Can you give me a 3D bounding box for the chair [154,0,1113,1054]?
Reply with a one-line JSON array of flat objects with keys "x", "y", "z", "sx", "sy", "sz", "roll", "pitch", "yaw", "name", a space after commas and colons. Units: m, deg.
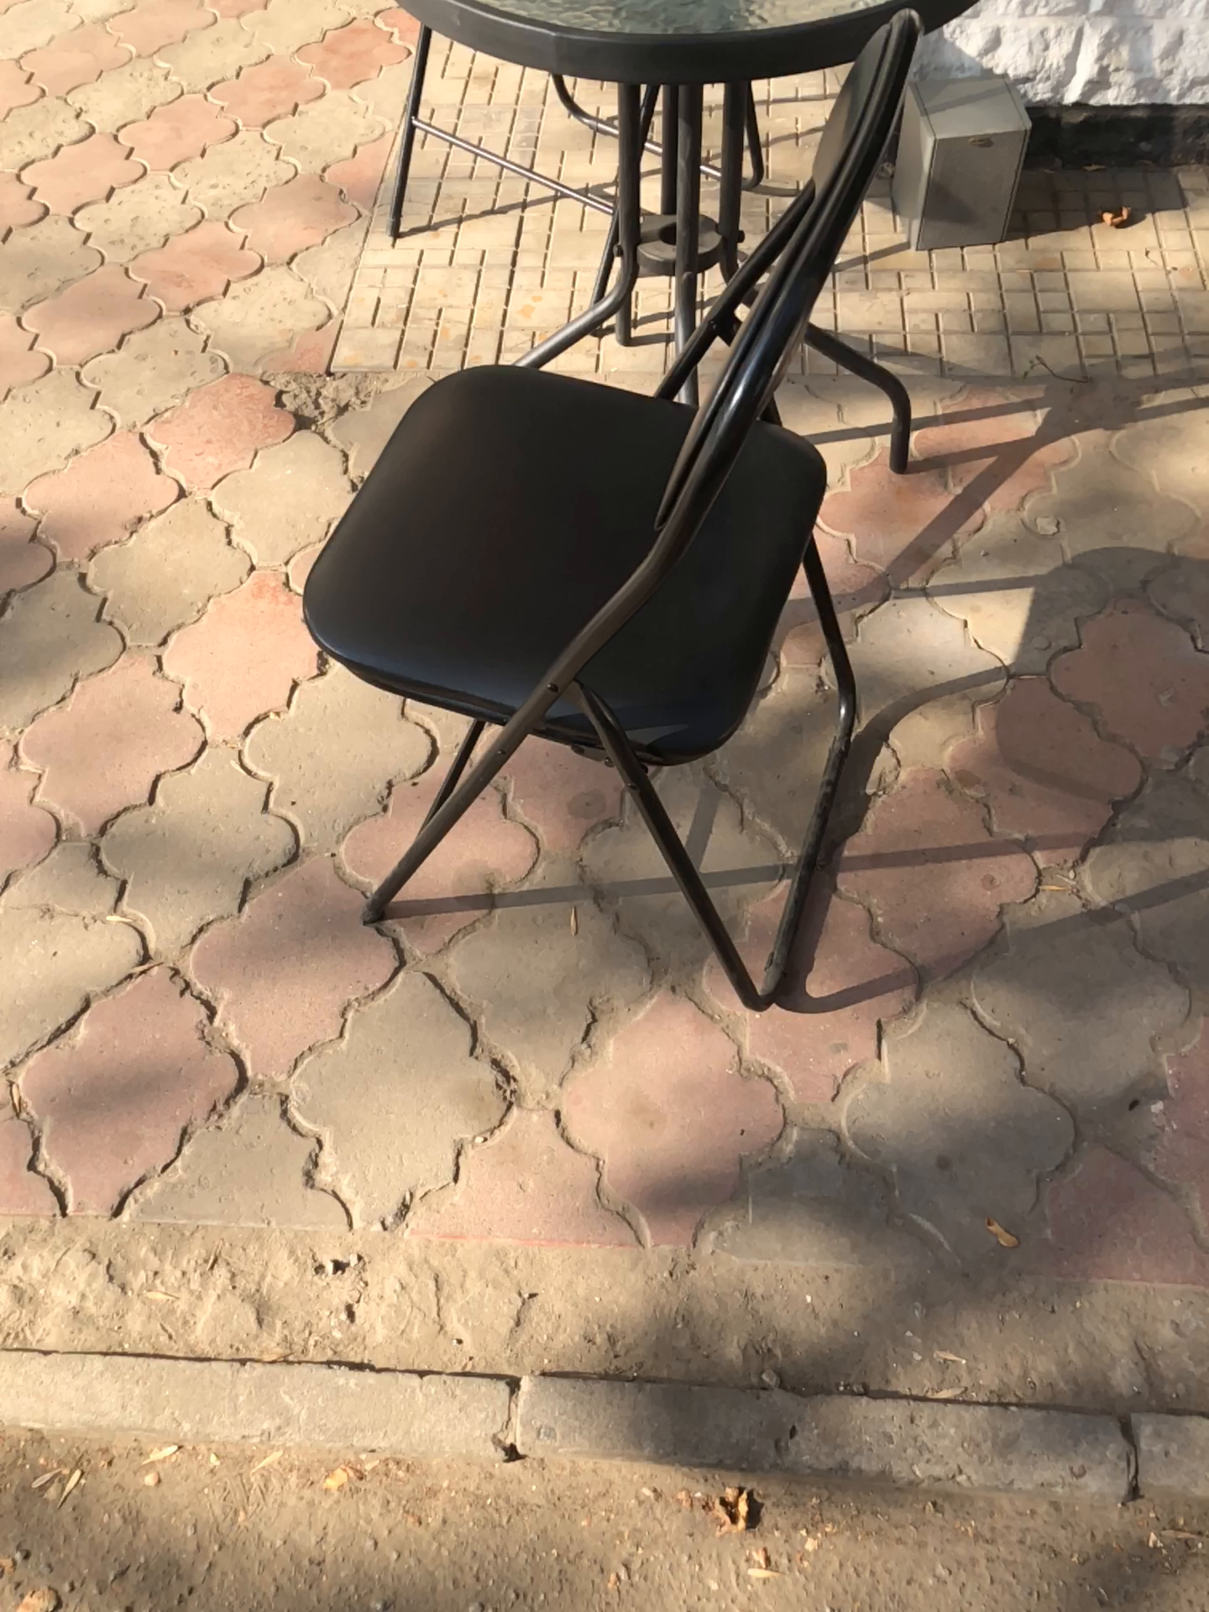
[{"x": 0.065, "y": -0.290, "z": 1.319, "sx": 0.570, "sy": 0.837, "sz": 0.582, "roll": 15, "pitch": 51, "yaw": 12, "name": "chair"}]
